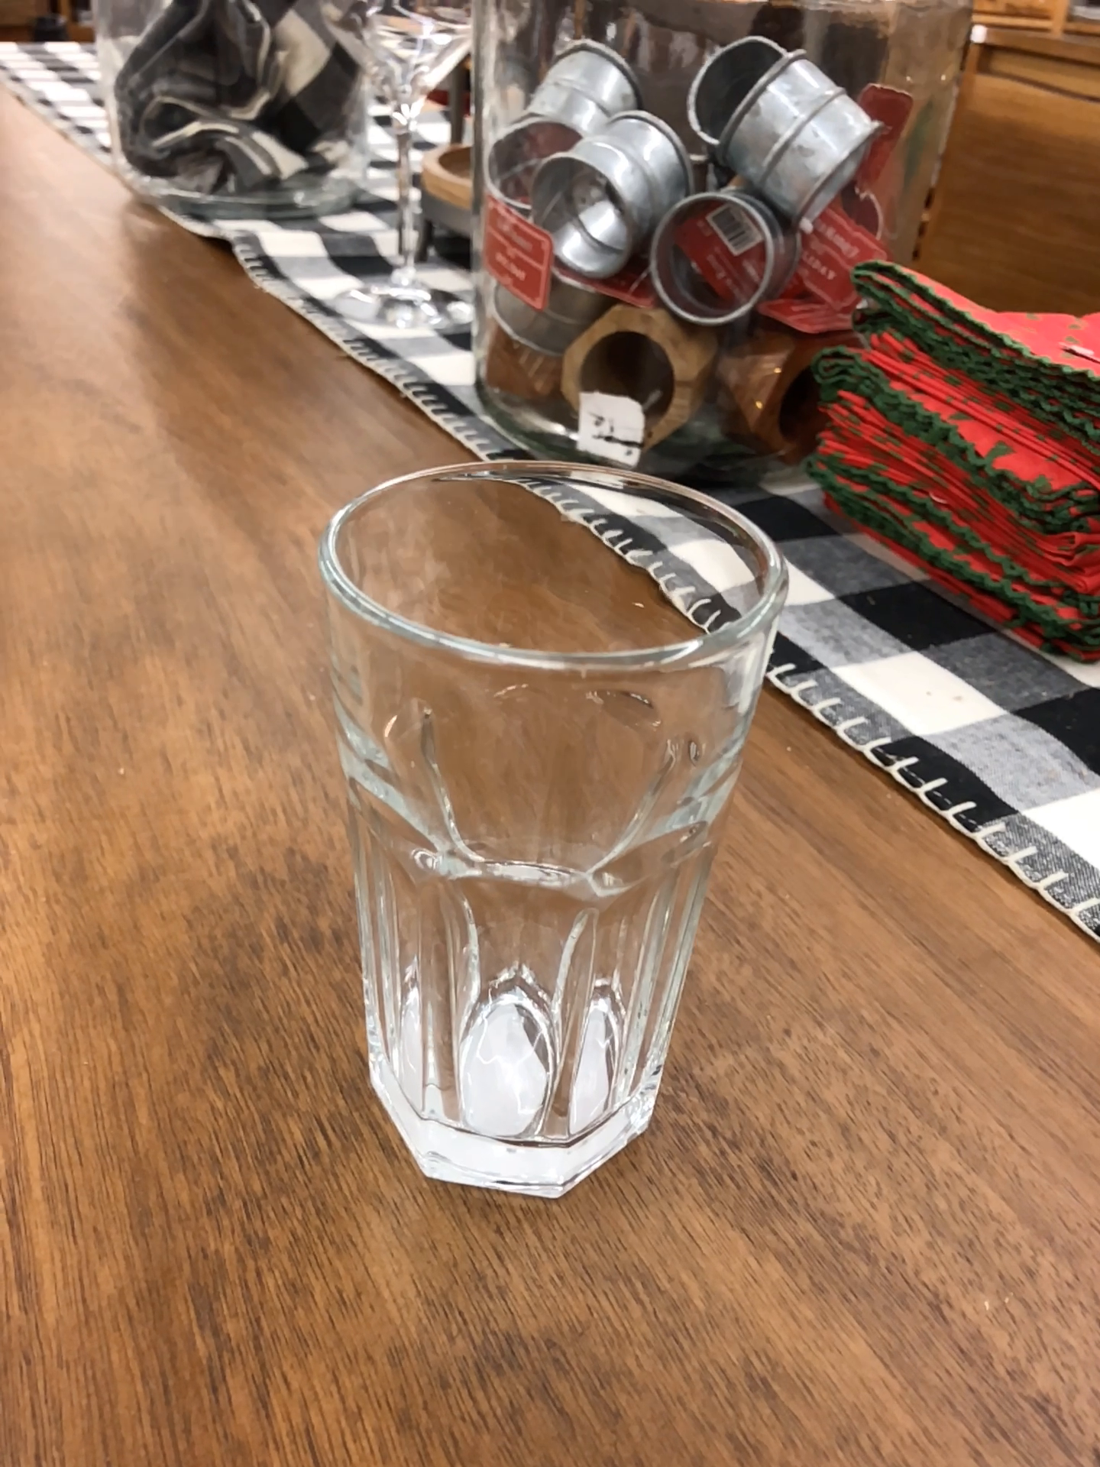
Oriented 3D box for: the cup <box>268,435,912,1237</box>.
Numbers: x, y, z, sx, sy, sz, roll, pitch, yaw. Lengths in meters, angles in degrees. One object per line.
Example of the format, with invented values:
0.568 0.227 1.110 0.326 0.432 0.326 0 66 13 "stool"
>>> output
-0.002 0.012 0.198 0.070 0.095 0.072 3 33 -2 "cup"
